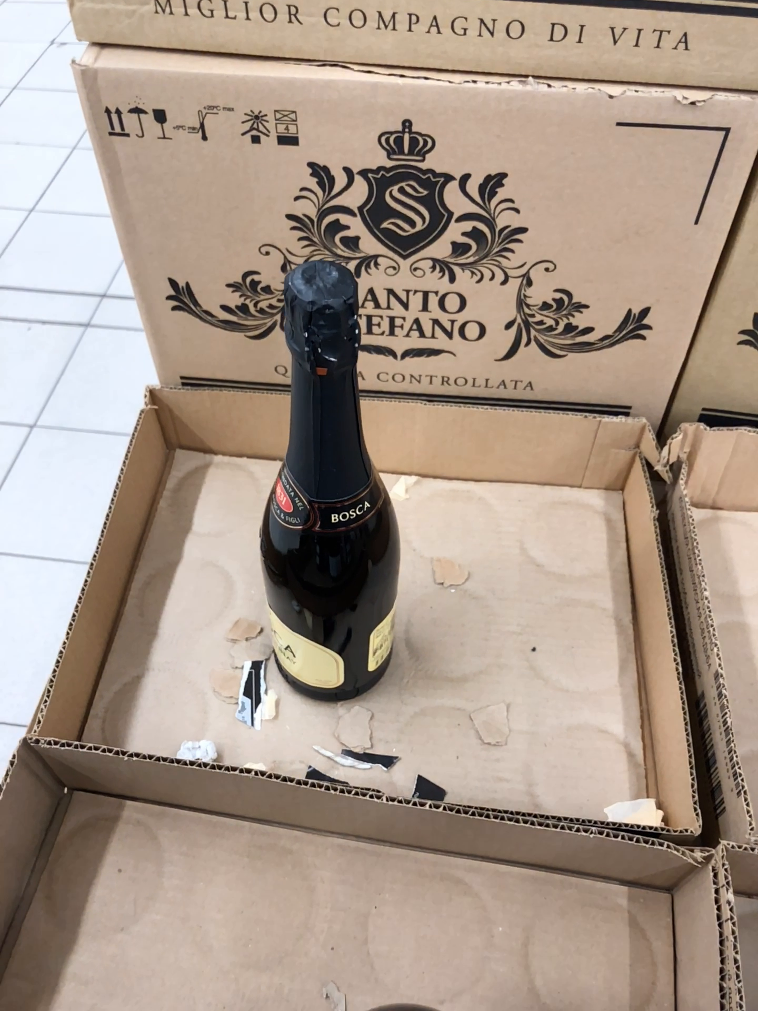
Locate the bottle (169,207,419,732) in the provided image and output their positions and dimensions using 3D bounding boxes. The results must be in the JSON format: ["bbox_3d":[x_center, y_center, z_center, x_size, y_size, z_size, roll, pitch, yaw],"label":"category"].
[{"bbox_3d":[-0.033,0.008,0.453,0.080,0.308,0.090,-14,53,-10],"label":"bottle"}]
